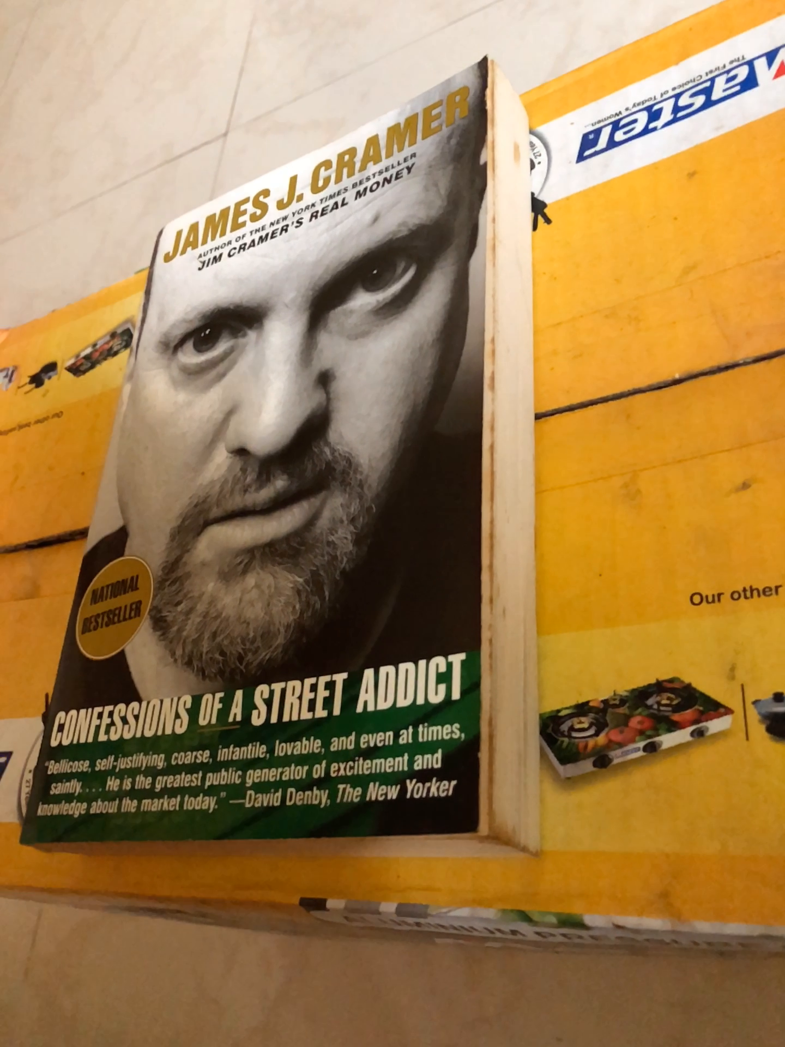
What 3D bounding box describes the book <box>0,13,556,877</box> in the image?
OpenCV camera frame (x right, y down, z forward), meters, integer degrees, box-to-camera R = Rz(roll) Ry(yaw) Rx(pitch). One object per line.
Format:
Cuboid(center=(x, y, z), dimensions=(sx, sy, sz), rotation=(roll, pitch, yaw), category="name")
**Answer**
Cuboid(center=(-0.028, -0.026, 0.248), dimensions=(0.140, 0.030, 0.230), rotation=(-13, 58, 30), category="book")
